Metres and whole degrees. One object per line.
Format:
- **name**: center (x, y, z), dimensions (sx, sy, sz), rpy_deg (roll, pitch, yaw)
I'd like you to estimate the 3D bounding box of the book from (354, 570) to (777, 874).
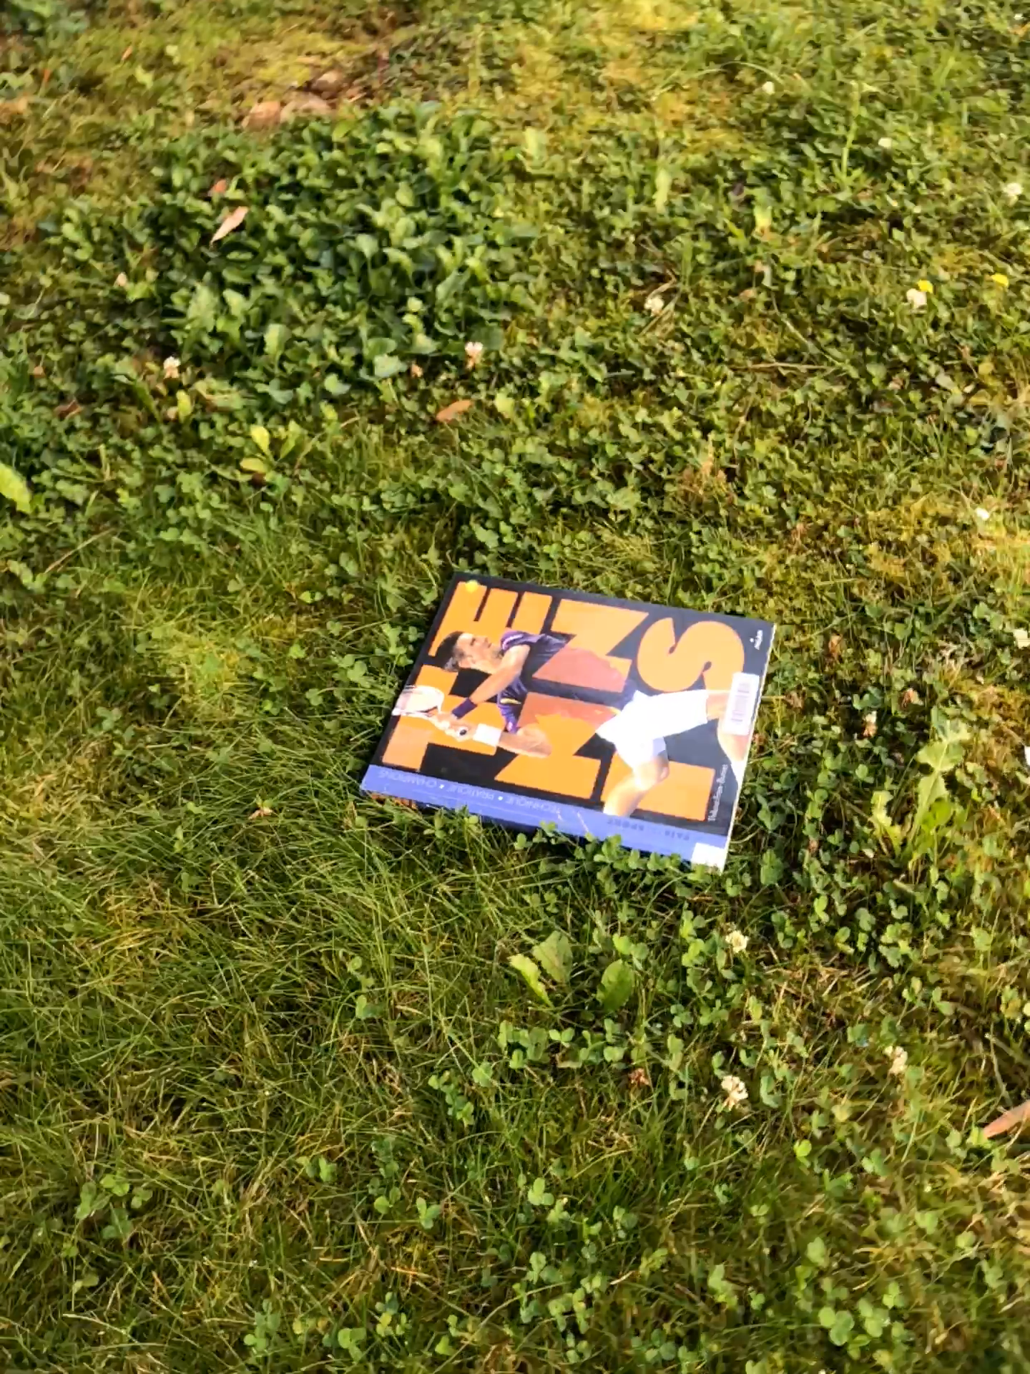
- **book**: center (0.040, 0.013, 0.764), dimensions (0.240, 0.016, 0.199), rpy_deg (10, 52, 15)
